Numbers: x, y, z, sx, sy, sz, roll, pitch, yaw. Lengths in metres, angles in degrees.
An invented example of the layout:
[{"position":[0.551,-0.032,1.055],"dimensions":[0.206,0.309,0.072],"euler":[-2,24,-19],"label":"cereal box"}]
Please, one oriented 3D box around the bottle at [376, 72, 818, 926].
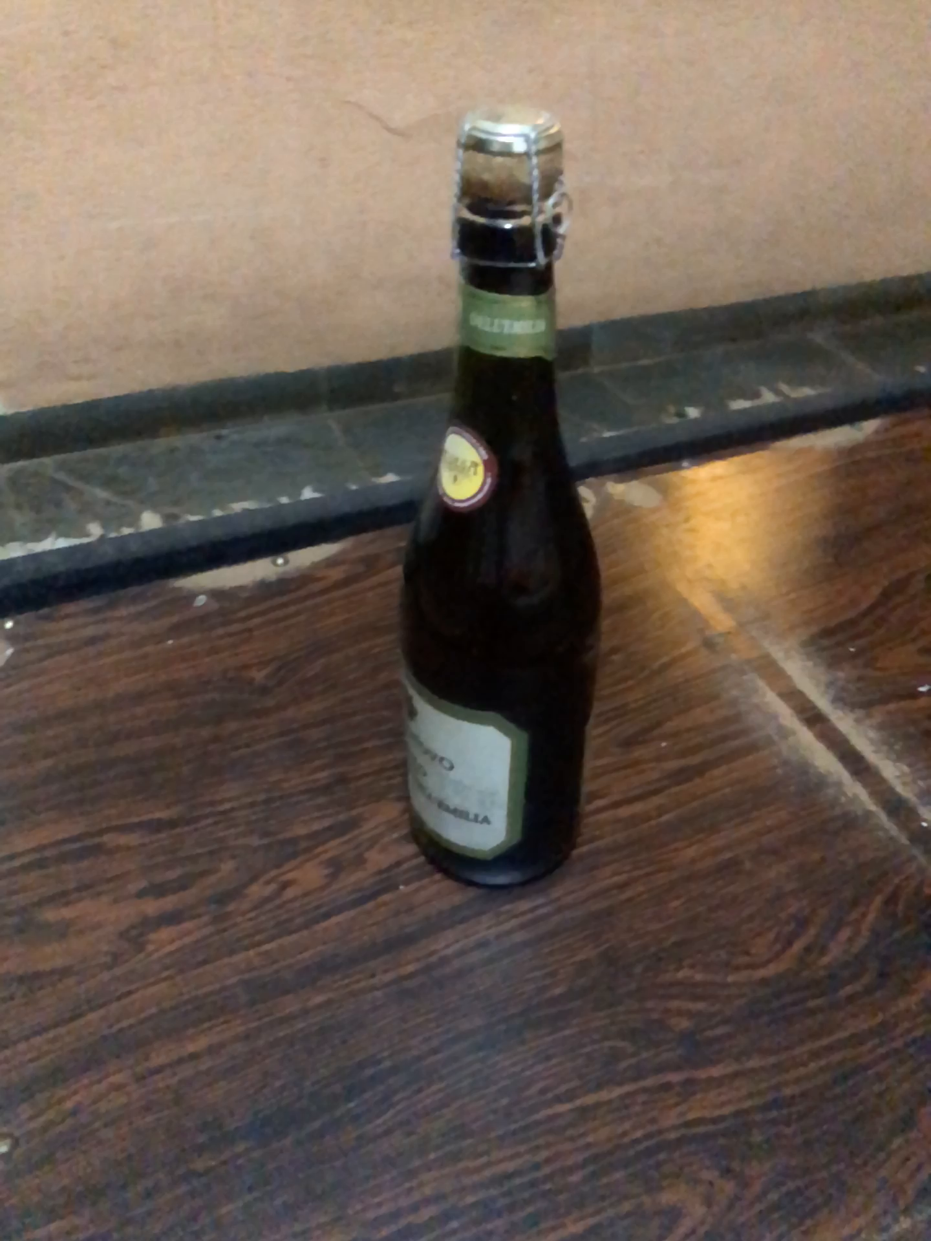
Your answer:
[{"position":[0.023,-0.023,0.372],"dimensions":[0.090,0.298,0.091],"euler":[3,40,-2],"label":"bottle"}]
